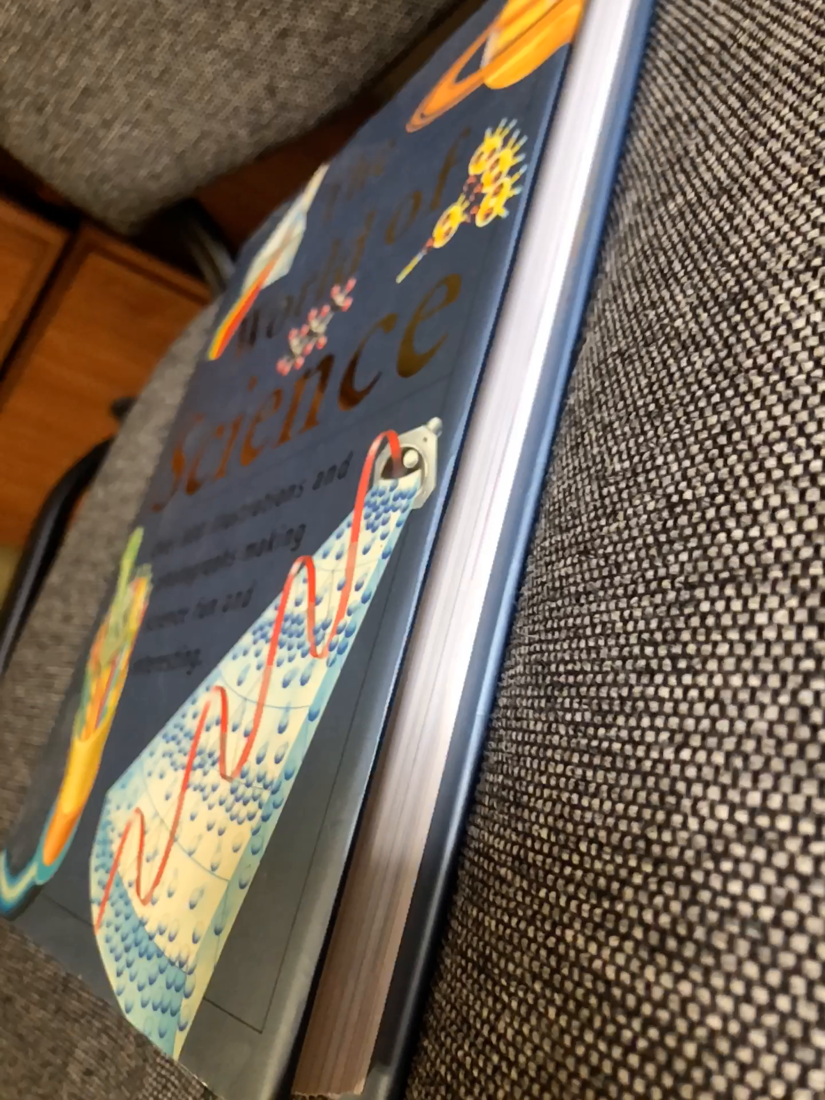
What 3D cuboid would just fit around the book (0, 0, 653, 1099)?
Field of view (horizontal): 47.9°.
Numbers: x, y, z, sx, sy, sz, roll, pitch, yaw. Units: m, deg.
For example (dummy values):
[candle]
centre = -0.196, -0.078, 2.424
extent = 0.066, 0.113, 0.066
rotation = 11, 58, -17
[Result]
[book]
centre = -0.043, -0.018, 0.277
extent = 0.221, 0.030, 0.276
rotation = -16, 53, 53
